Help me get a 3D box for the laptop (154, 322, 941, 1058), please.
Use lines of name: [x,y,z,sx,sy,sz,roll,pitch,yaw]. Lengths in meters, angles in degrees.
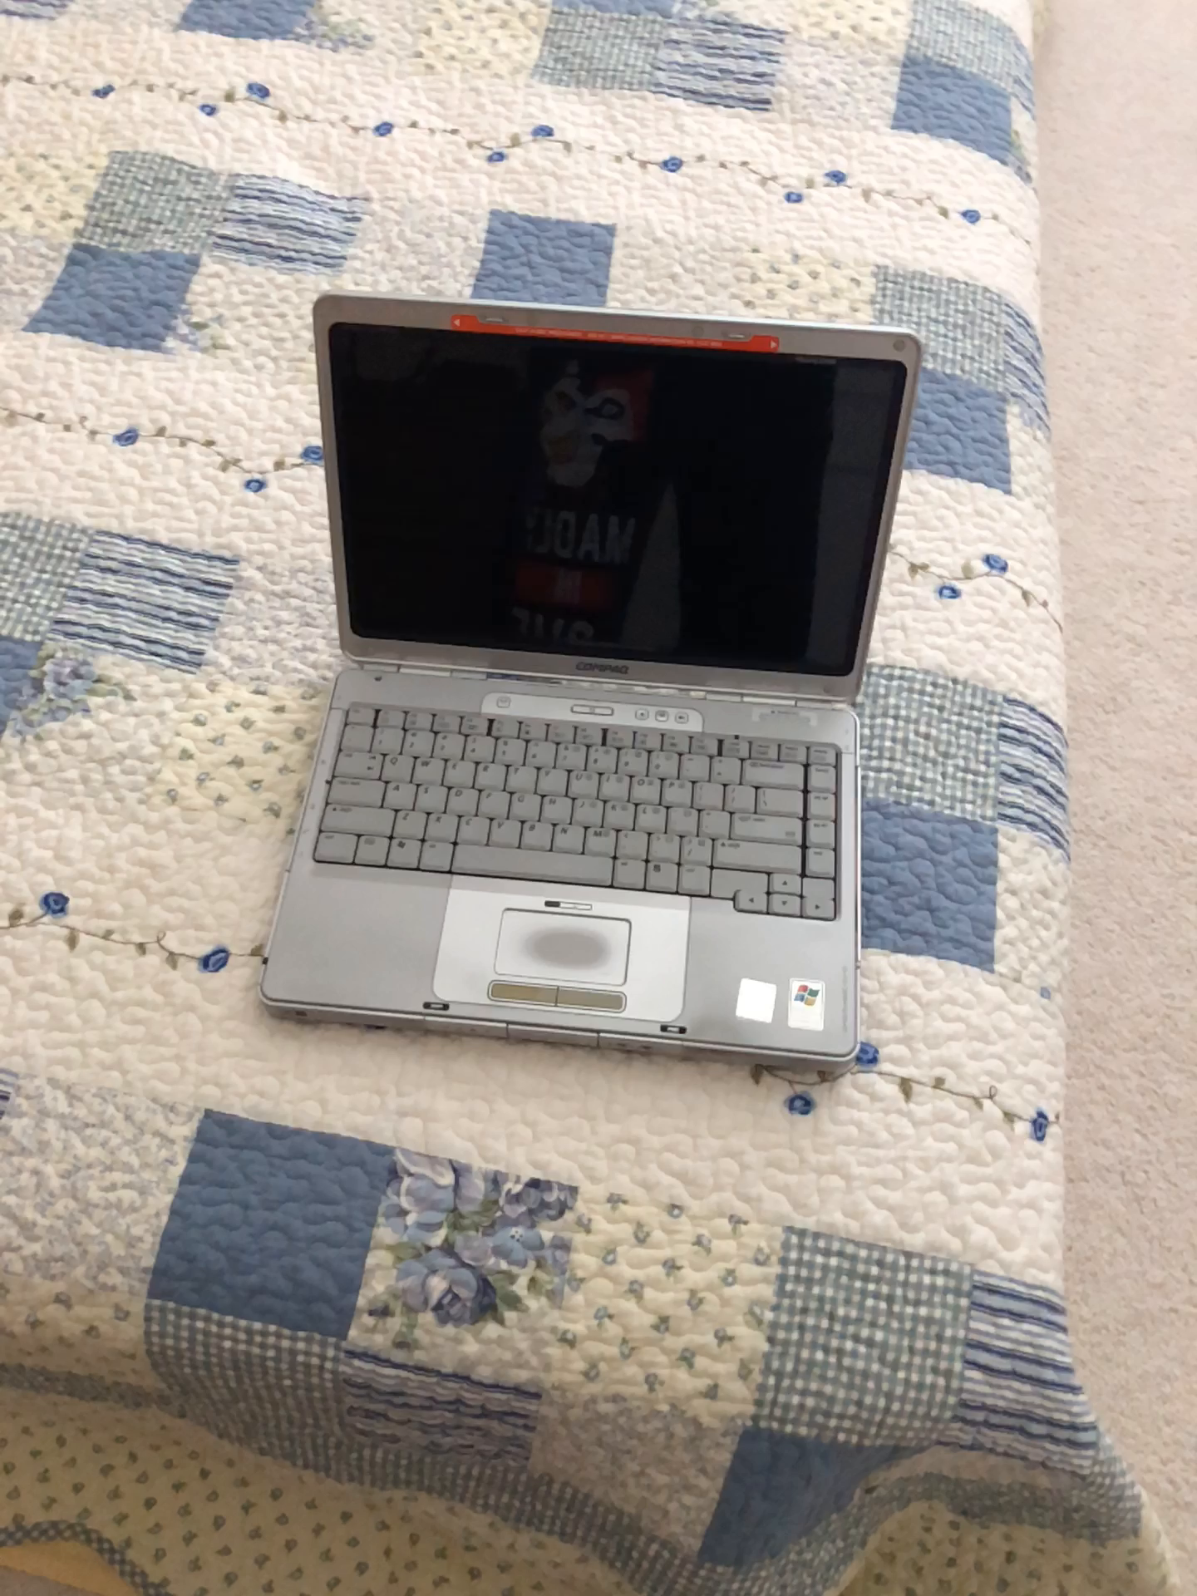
laptop: [-0.008,-0.059,0.706,0.322,0.193,0.327,5,60,3]
